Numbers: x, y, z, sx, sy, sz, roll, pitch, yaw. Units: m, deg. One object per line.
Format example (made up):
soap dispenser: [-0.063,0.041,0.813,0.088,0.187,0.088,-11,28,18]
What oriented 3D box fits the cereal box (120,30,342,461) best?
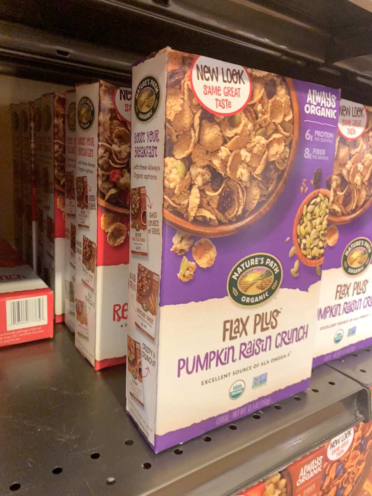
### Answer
cereal box: [0.038,0.001,0.306,0.170,0.269,0.050,-4,11,-34]
